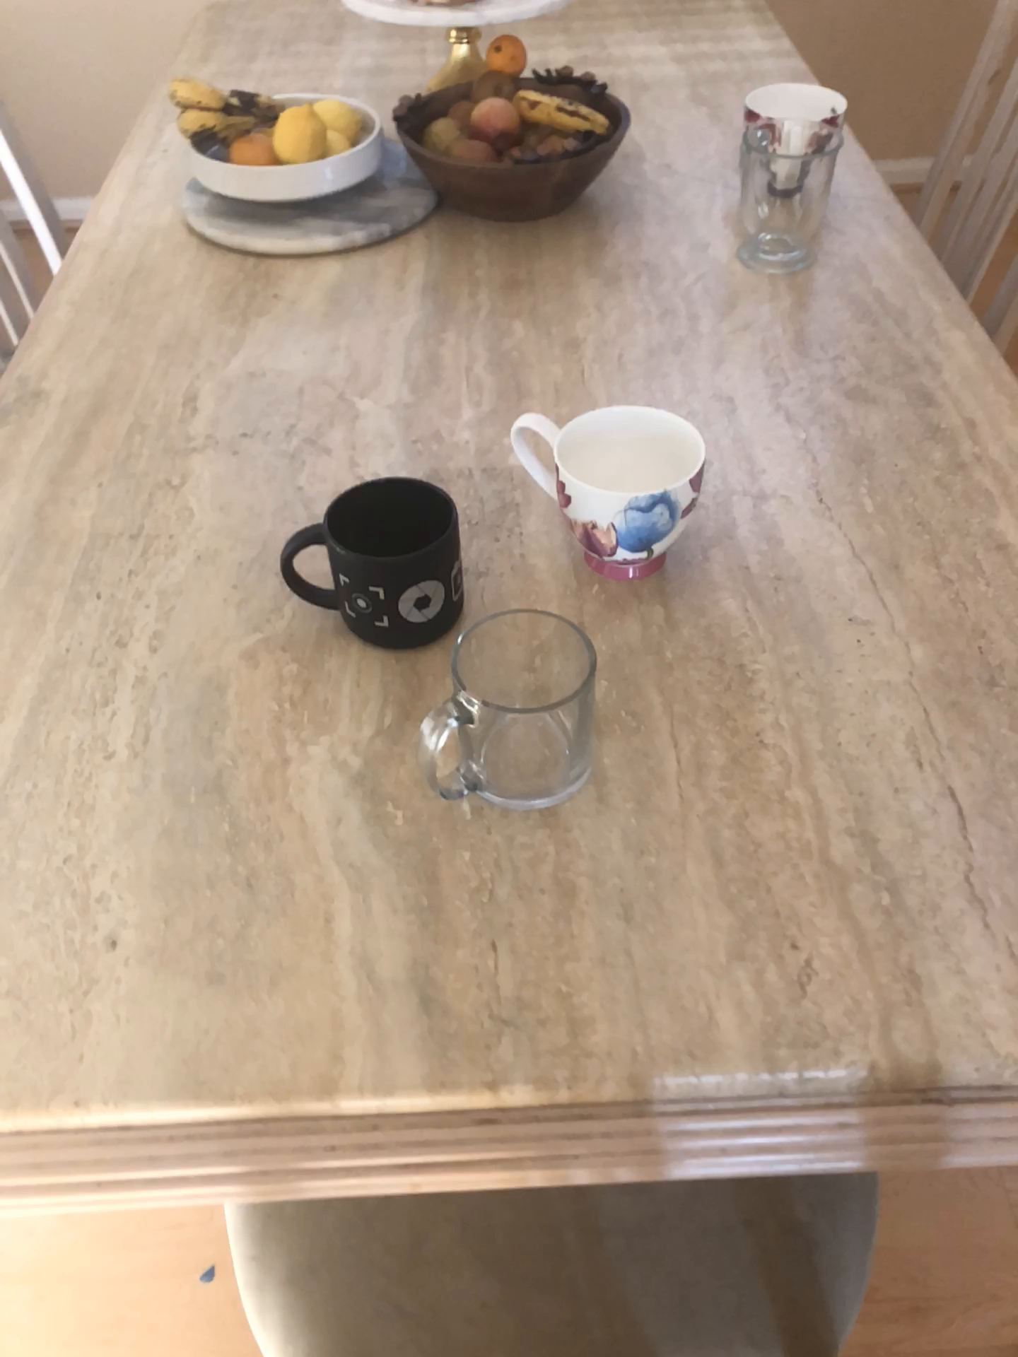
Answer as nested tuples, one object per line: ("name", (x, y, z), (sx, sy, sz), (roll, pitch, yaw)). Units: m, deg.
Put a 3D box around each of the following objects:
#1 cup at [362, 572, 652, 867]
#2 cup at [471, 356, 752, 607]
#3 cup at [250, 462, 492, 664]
("cup", (0.001, 0.022, 0.675), (0.141, 0.089, 0.090), (-29, 51, -23))
("cup", (0.074, -0.150, 0.828), (0.160, 0.089, 0.121), (26, 52, 25))
("cup", (-0.091, -0.082, 0.790), (0.140, 0.089, 0.101), (5, 46, 7))
